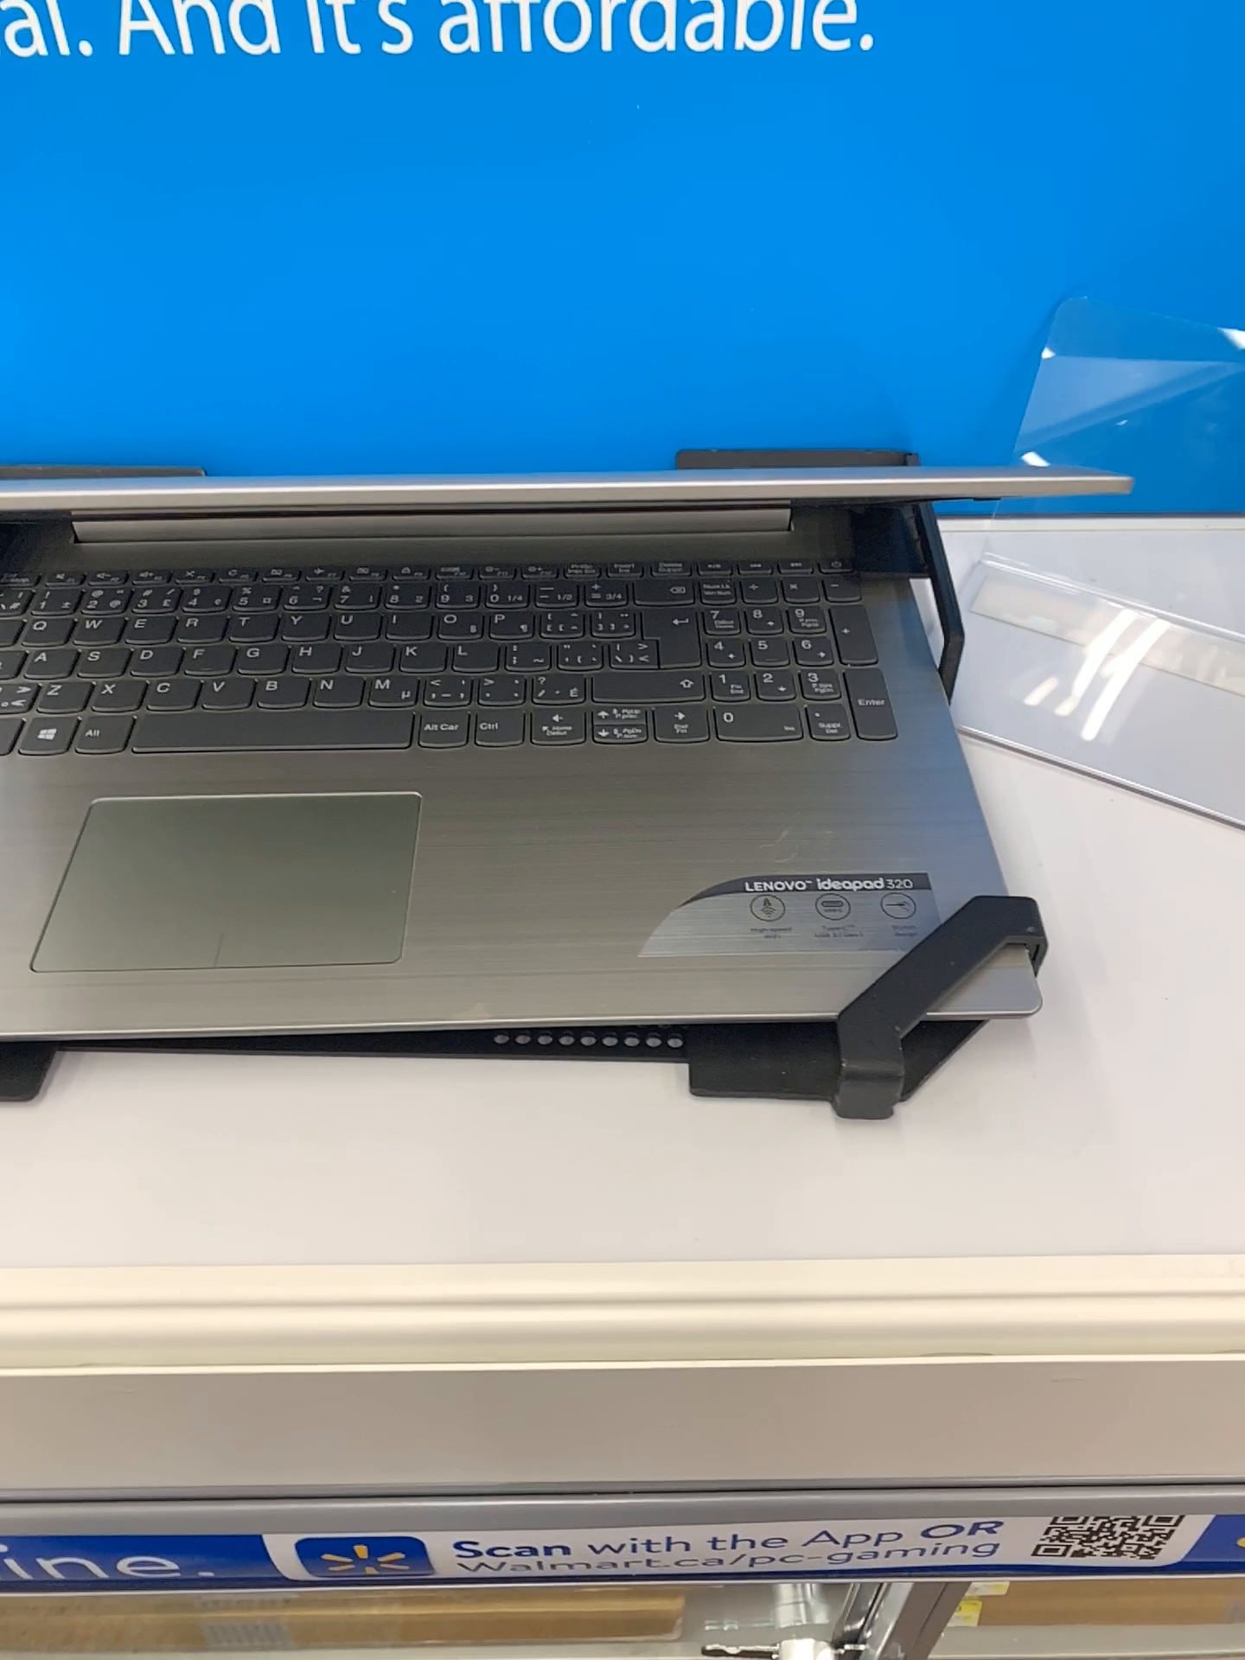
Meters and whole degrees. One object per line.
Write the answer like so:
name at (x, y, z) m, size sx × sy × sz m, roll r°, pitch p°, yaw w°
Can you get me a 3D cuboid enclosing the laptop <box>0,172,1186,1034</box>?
laptop at (-0.064, -0.074, 0.342) m, size 0.324 × 0.110 × 0.220 m, roll -1°, pitch 46°, yaw -1°
